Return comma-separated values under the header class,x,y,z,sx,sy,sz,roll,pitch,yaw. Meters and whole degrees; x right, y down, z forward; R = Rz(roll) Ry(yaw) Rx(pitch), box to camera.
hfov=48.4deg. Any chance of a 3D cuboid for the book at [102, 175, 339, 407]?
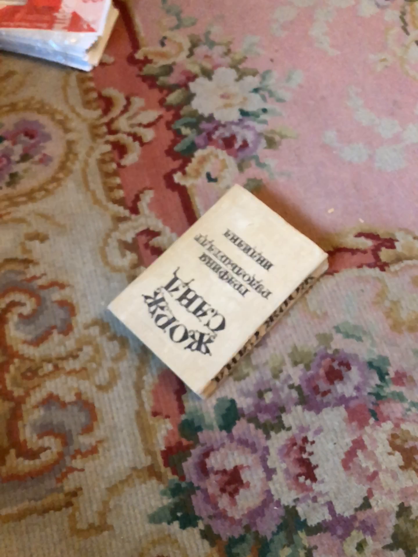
class,x,y,z,sx,sy,sz,roll,pitch,yaw
book,0.015,0.010,0.538,0.150,0.057,0.220,41,76,16
